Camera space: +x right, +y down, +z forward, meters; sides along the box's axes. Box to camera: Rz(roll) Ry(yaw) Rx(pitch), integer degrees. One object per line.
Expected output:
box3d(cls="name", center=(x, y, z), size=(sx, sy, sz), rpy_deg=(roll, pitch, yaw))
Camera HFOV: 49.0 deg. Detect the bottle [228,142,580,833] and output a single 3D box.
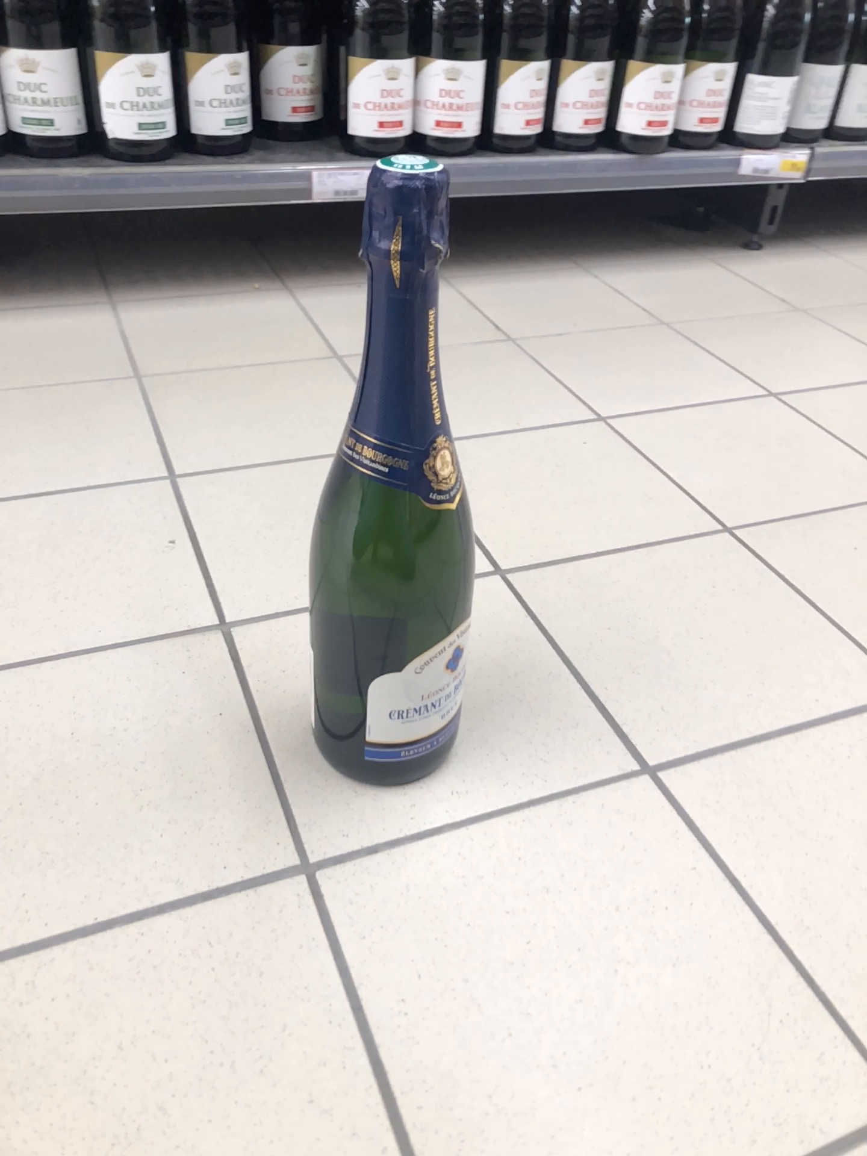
box3d(cls="bottle", center=(-0.020, -0.034, 0.469), size=(0.100, 0.308, 0.101), rpy_deg=(3, 34, -2))
